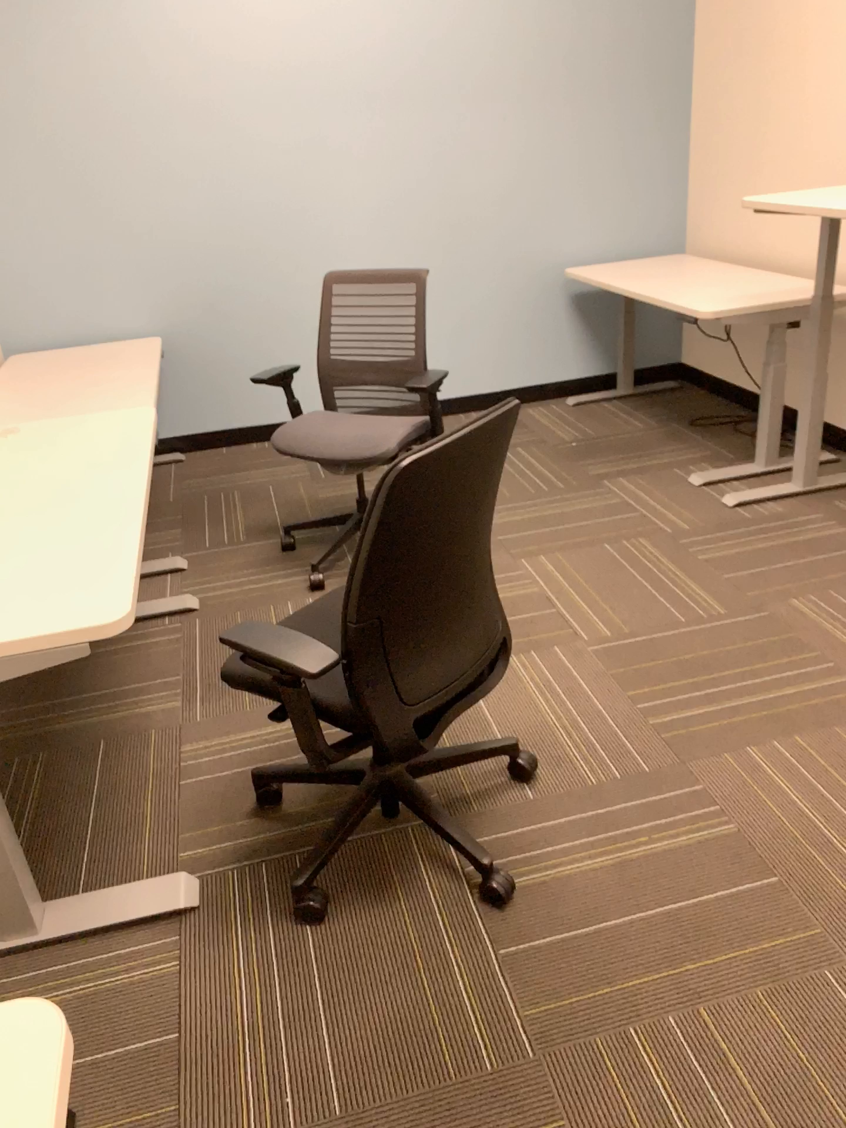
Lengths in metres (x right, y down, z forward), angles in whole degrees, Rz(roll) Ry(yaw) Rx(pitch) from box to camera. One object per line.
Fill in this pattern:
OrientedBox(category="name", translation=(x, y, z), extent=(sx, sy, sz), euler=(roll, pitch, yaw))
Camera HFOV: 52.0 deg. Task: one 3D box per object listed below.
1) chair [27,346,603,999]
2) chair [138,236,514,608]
OrientedBox(category="chair", translation=(-0.131, 0.124, 1.741), extent=(0.772, 0.934, 0.682), euler=(10, 30, 29))
OrientedBox(category="chair", translation=(-0.270, -0.540, 2.990), extent=(0.892, 0.994, 0.772), euler=(9, 29, 28))
